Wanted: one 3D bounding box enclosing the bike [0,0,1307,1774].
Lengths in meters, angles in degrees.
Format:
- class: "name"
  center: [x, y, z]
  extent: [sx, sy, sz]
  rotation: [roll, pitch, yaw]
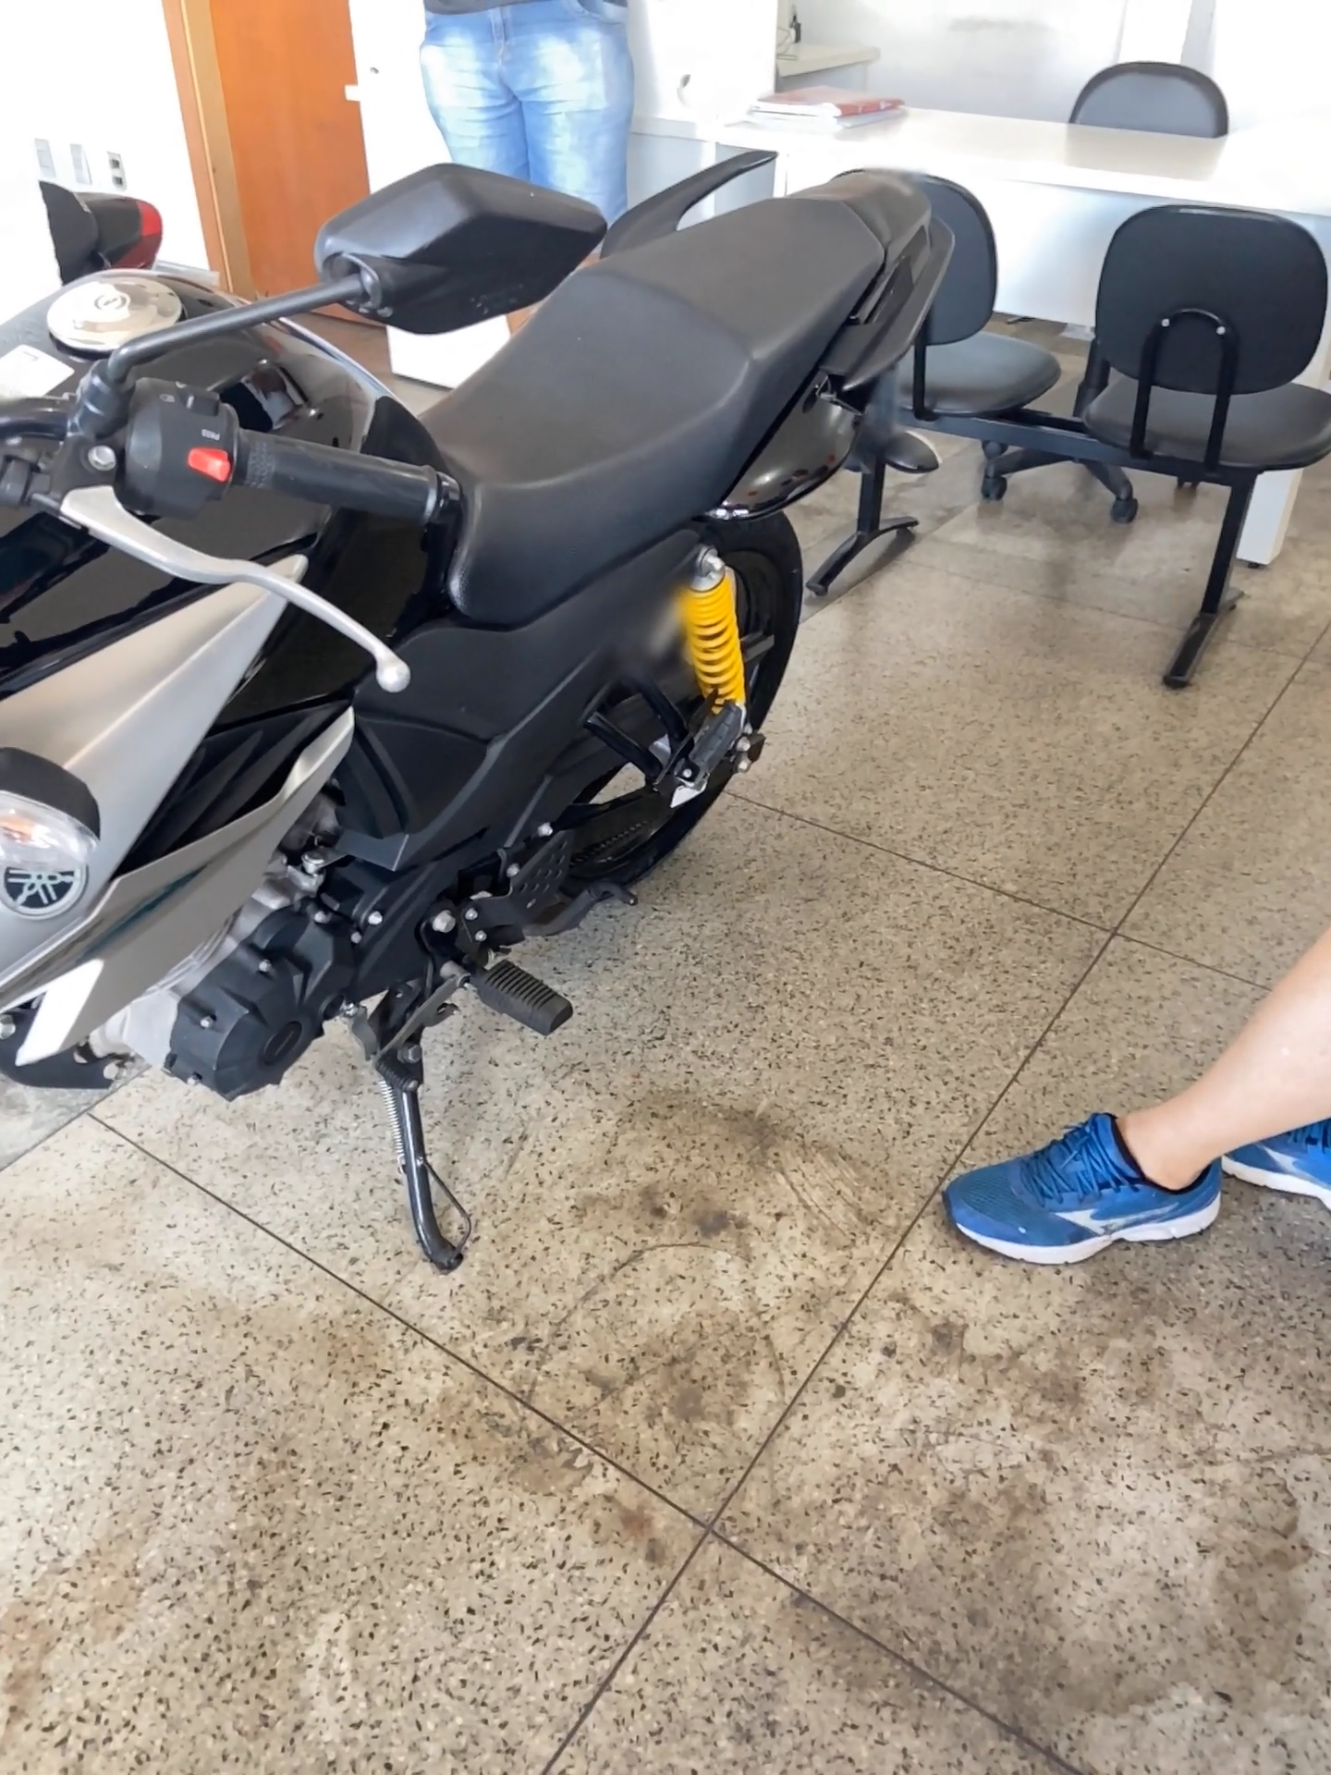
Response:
- class: "bike"
  center: [-0.164, -0.063, 1.186]
  extent: [0.816, 1.331, 2.013]
  rotation: [17, 39, 23]
